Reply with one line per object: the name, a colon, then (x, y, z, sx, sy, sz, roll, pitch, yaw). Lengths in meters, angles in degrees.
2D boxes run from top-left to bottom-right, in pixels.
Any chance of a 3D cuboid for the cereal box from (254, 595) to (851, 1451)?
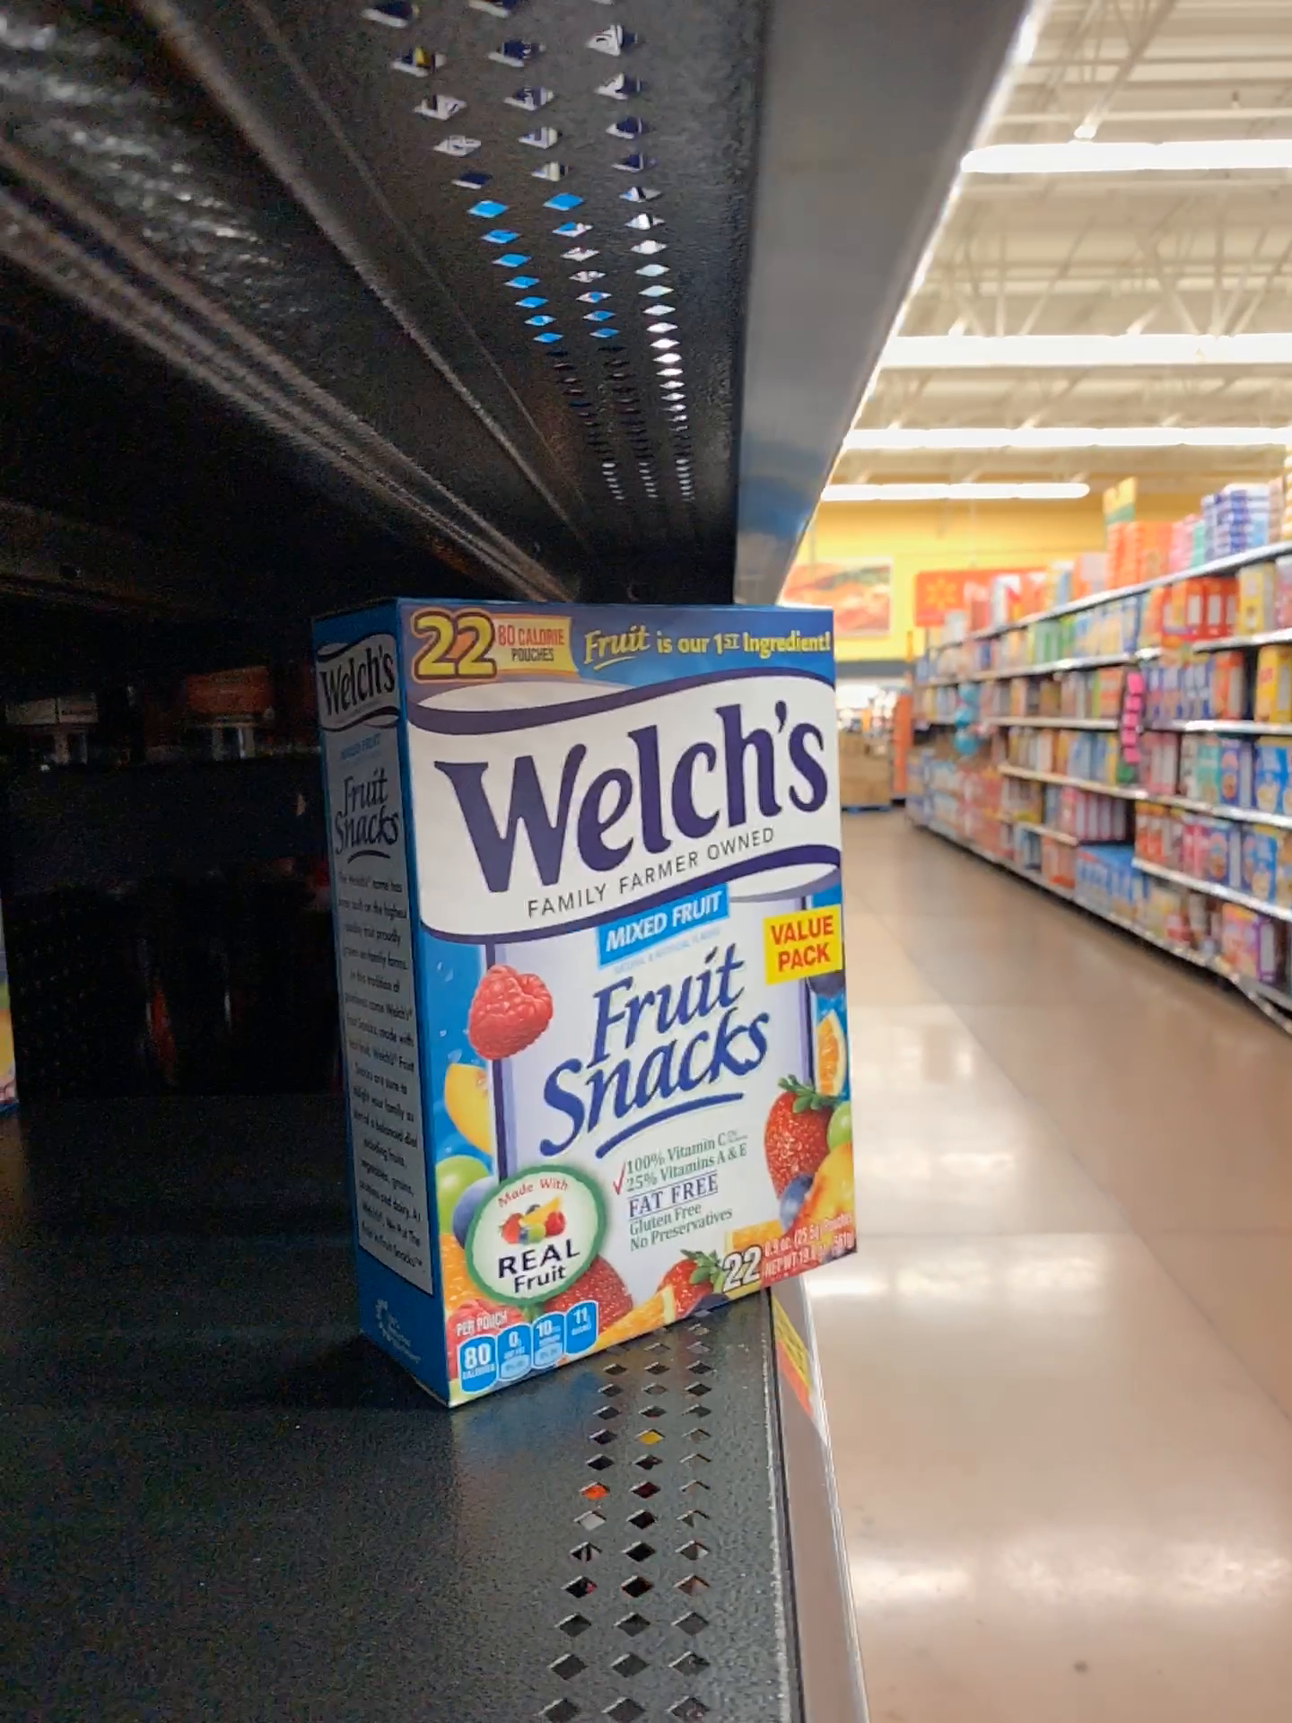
cereal box: (-0.021, 0.035, 0.426, 0.170, 0.230, 0.060, -8, 7, -36)
